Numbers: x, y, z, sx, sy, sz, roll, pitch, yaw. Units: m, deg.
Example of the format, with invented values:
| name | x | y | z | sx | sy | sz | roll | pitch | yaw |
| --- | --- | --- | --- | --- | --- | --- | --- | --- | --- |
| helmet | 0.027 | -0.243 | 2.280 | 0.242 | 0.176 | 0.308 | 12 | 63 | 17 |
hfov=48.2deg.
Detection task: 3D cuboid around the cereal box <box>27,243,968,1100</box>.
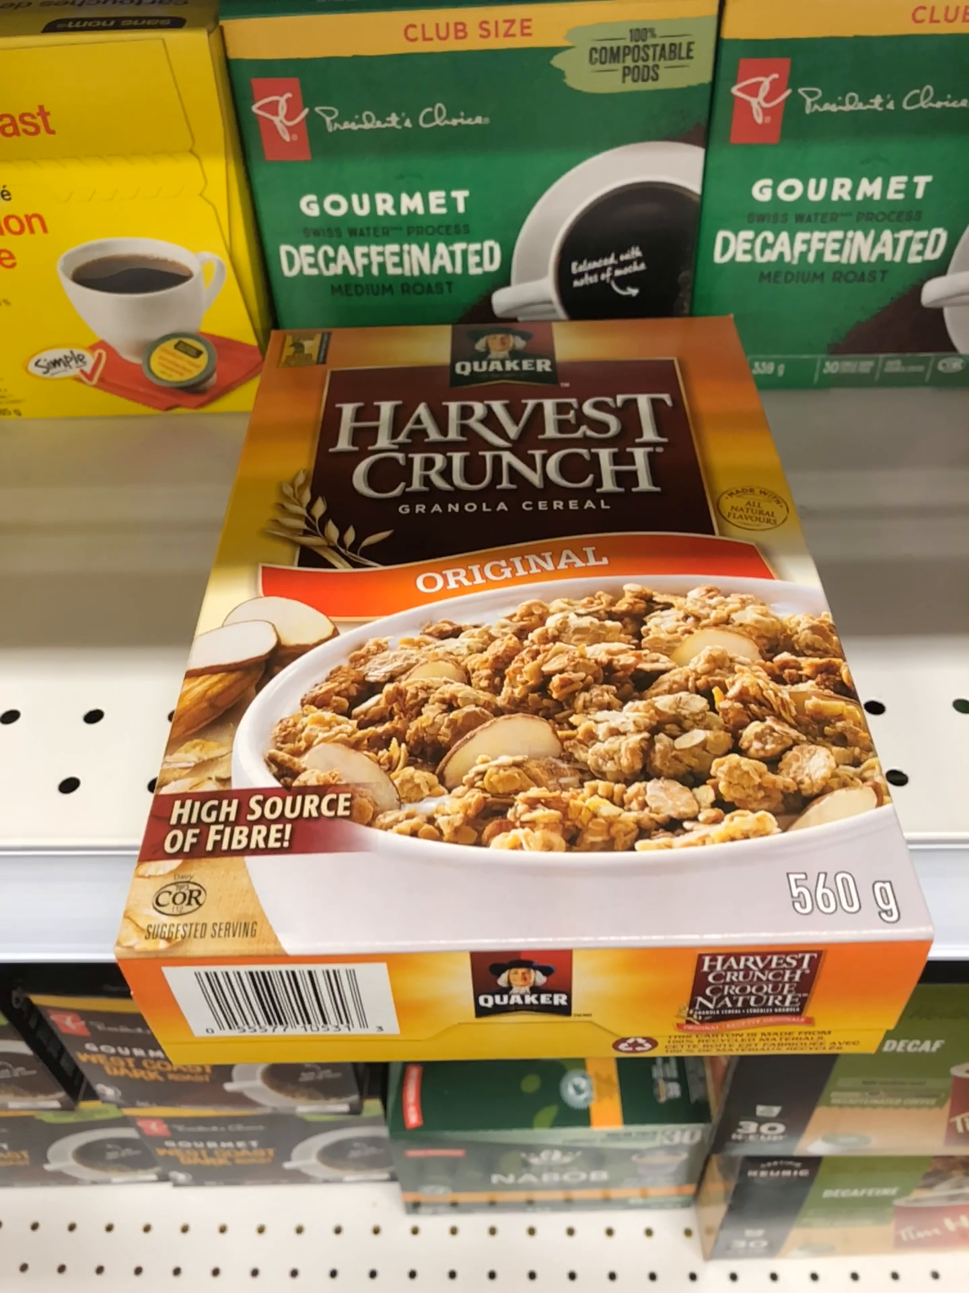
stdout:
| name | x | y | z | sx | sy | sz | roll | pitch | yaw |
| --- | --- | --- | --- | --- | --- | --- | --- | --- | --- |
| cereal box | 0.004 | -0.024 | 0.307 | 0.170 | 0.050 | 0.281 | -2 | 45 | 1 |
